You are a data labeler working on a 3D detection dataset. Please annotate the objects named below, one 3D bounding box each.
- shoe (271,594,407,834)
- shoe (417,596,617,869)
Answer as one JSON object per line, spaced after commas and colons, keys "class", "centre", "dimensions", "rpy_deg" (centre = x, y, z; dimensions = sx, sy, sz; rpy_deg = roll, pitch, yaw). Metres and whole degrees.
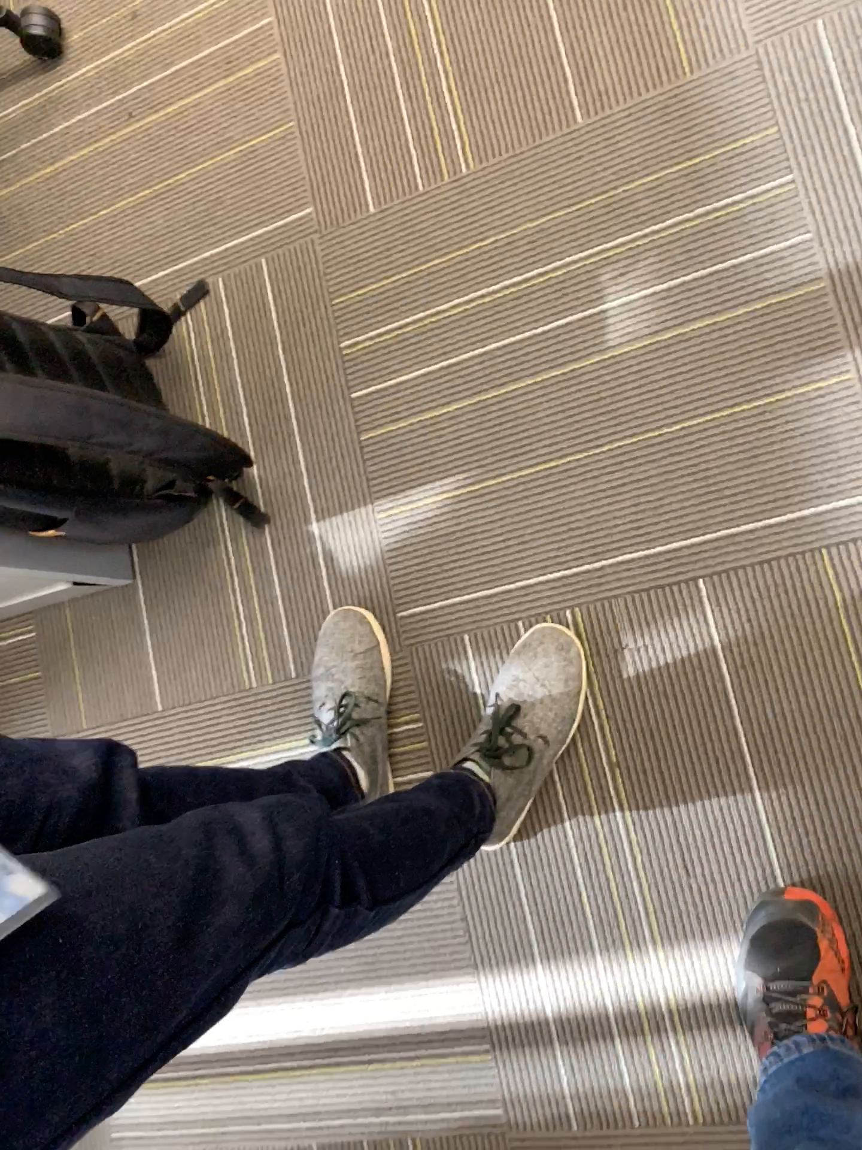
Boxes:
{"class": "shoe", "centre": [-0.125, 0.185, 1.198], "dimensions": [0.134, 0.087, 0.301], "rpy_deg": [-8, 83, 20]}
{"class": "shoe", "centre": [0.108, 0.191, 1.111], "dimensions": [0.134, 0.087, 0.299], "rpy_deg": [22, 95, 21]}
